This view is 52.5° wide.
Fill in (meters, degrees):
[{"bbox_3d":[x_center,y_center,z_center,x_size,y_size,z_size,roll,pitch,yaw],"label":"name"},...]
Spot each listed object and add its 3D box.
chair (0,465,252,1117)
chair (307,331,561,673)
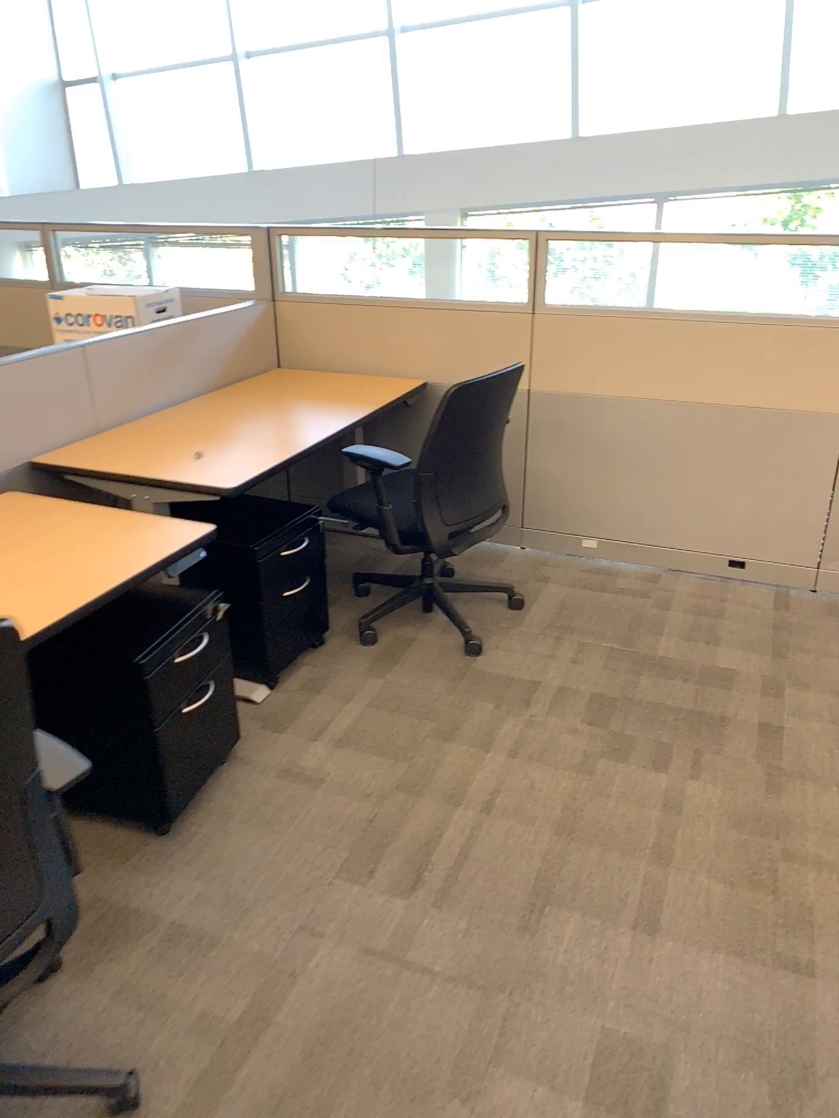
[{"bbox_3d":[-0.867,0.573,1.457,0.751,1.183,0.763,-21,31,-39],"label":"chair"},{"bbox_3d":[0.061,-0.306,3.828,0.751,1.233,0.763,-21,31,-39],"label":"chair"}]
